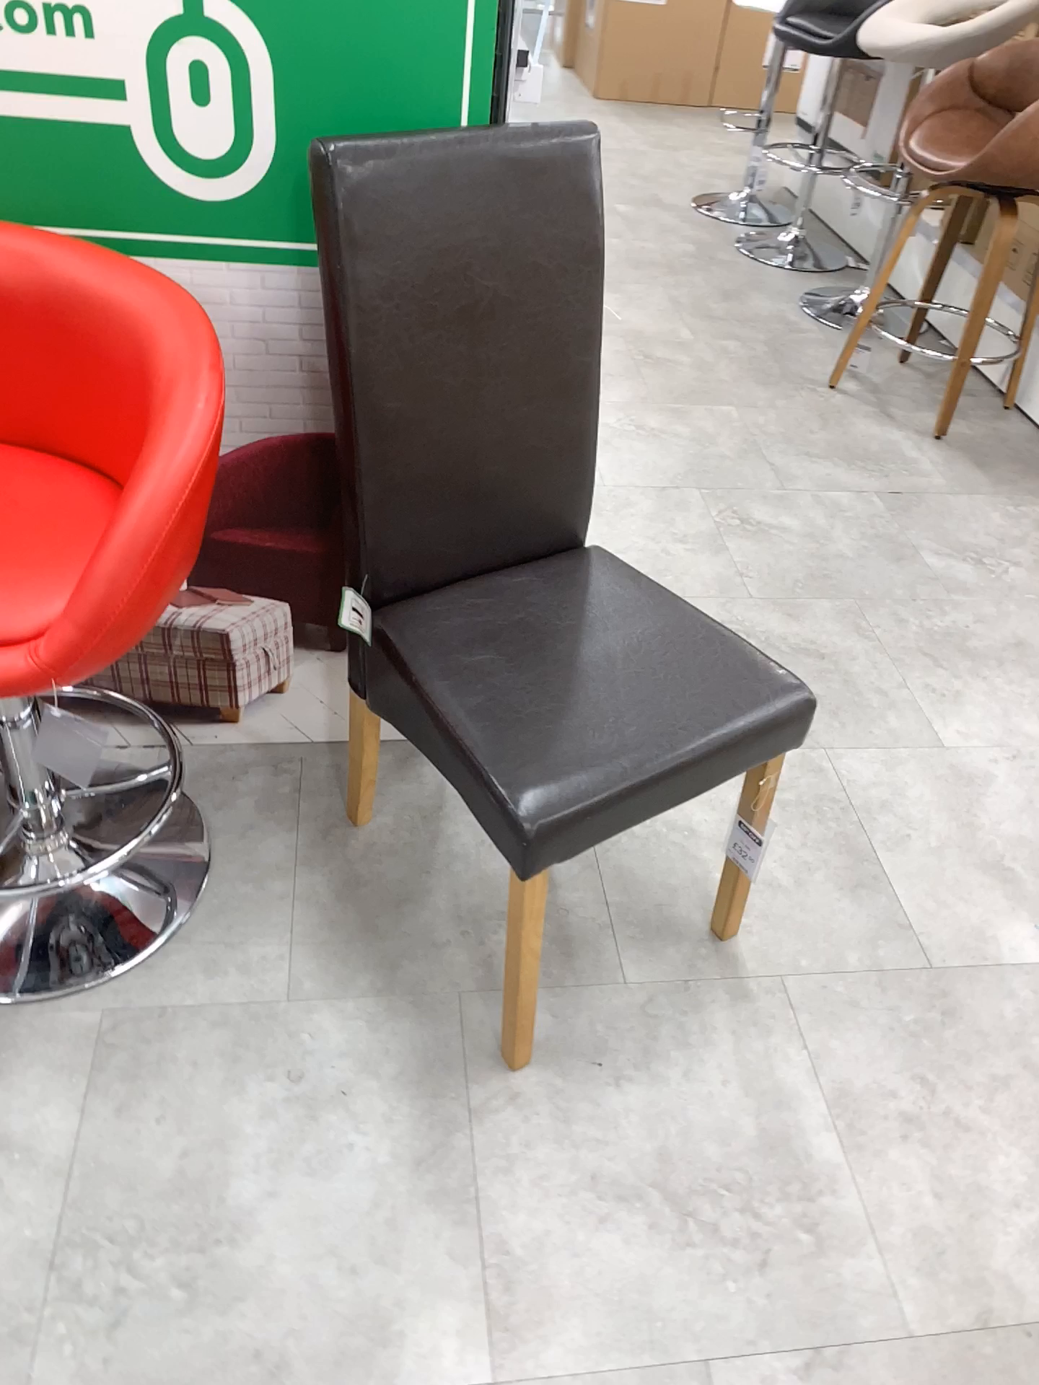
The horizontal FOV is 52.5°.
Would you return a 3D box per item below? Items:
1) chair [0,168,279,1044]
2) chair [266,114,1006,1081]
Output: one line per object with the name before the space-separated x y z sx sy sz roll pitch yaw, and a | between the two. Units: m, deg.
chair | -0.558 -0.068 1.149 0.425 0.774 0.460 9 40 2
chair | 0.042 -0.104 1.257 0.427 0.912 0.559 -21 47 -29
